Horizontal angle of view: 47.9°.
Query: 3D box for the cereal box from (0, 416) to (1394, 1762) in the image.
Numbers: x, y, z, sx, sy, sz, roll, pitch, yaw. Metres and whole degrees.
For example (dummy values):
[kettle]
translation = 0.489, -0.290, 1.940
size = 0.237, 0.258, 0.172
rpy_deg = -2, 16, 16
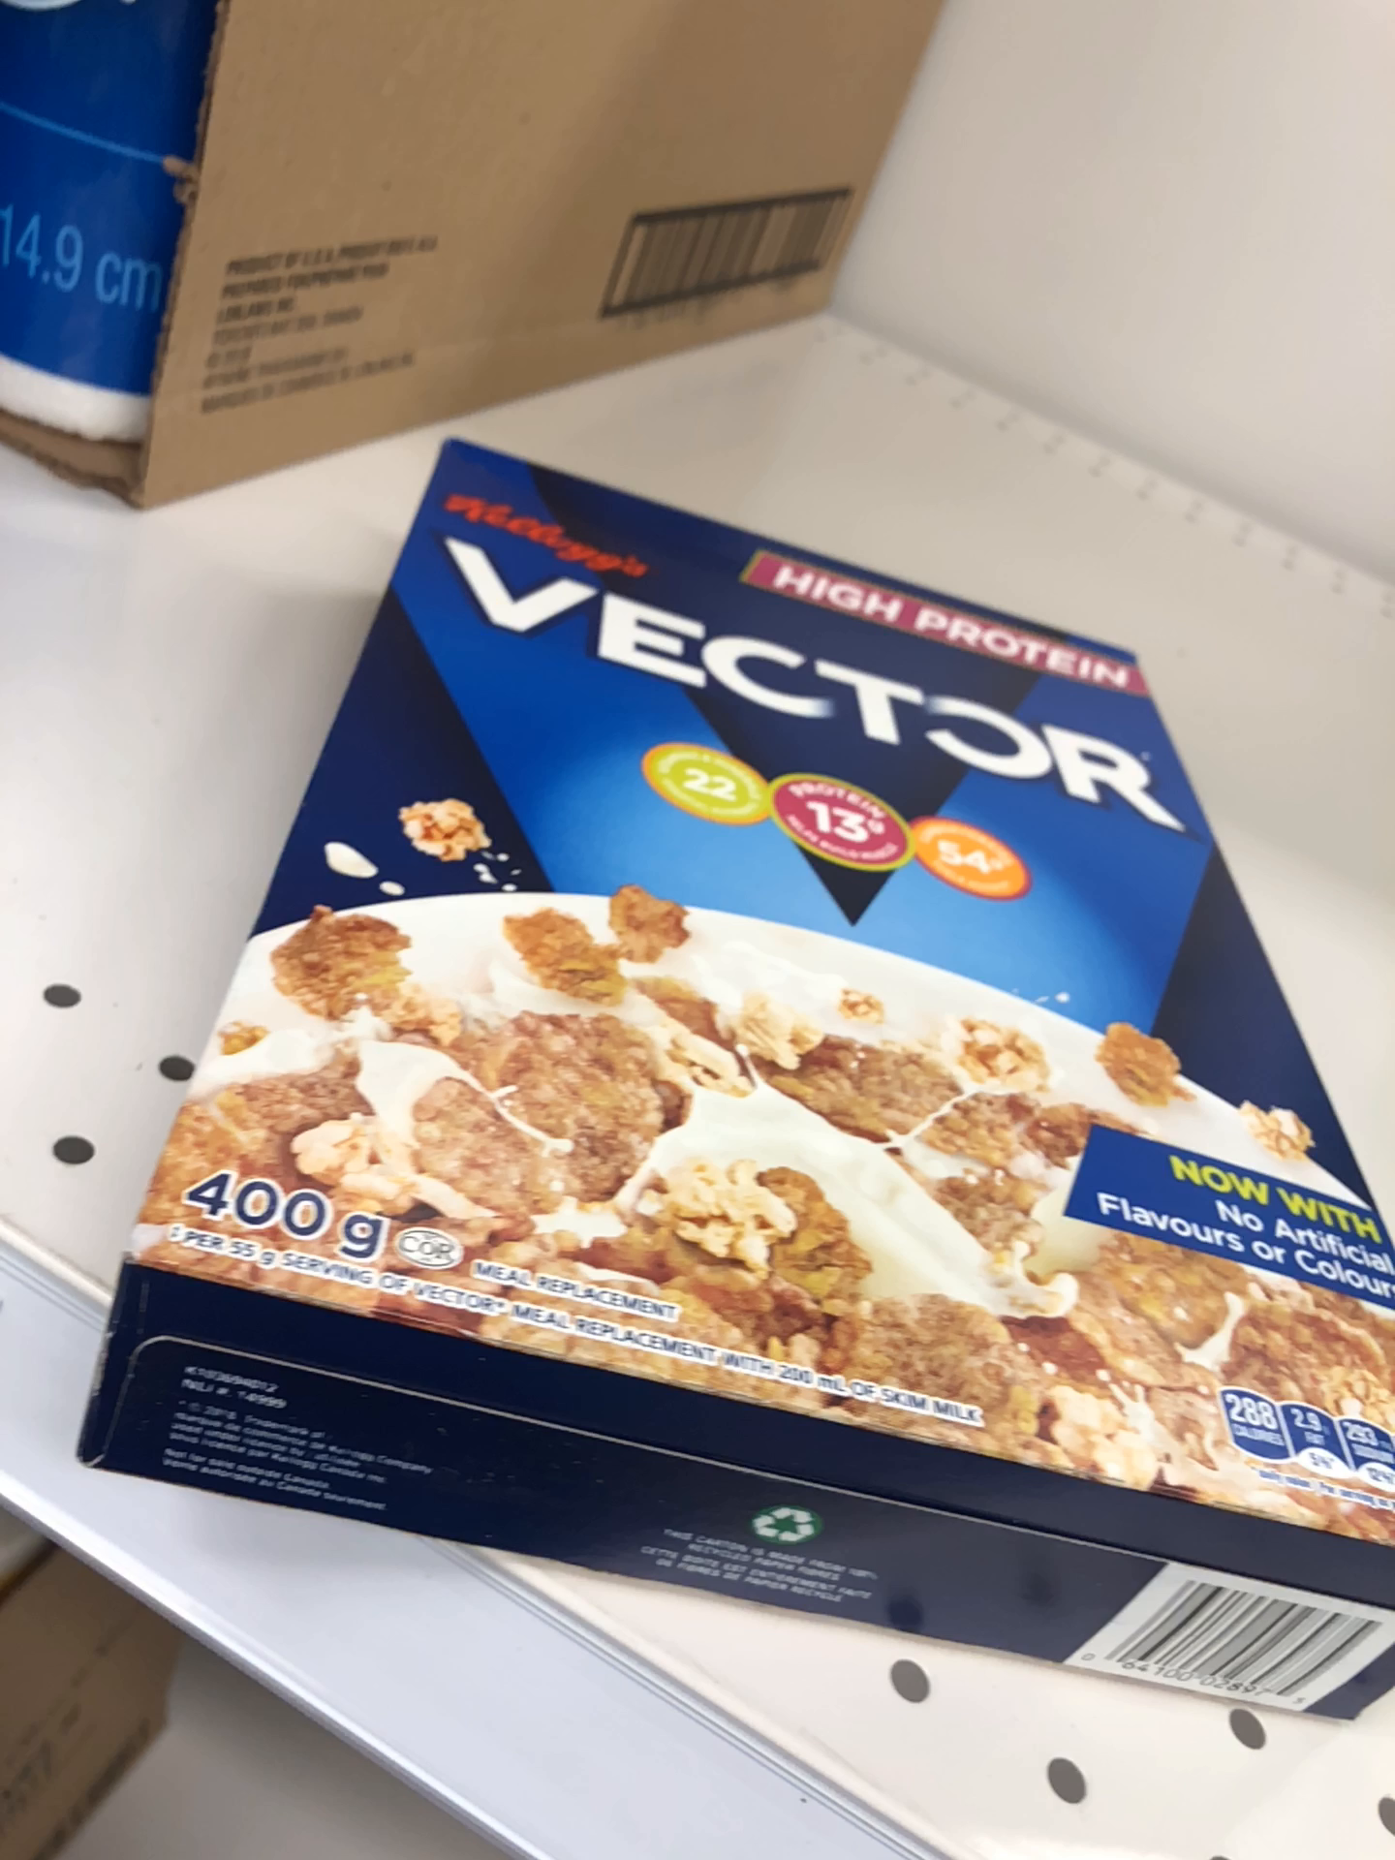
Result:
[cereal box]
translation = 0.016, -0.003, 0.325
size = 0.210, 0.050, 0.291
rpy_deg = 16, 34, -12
